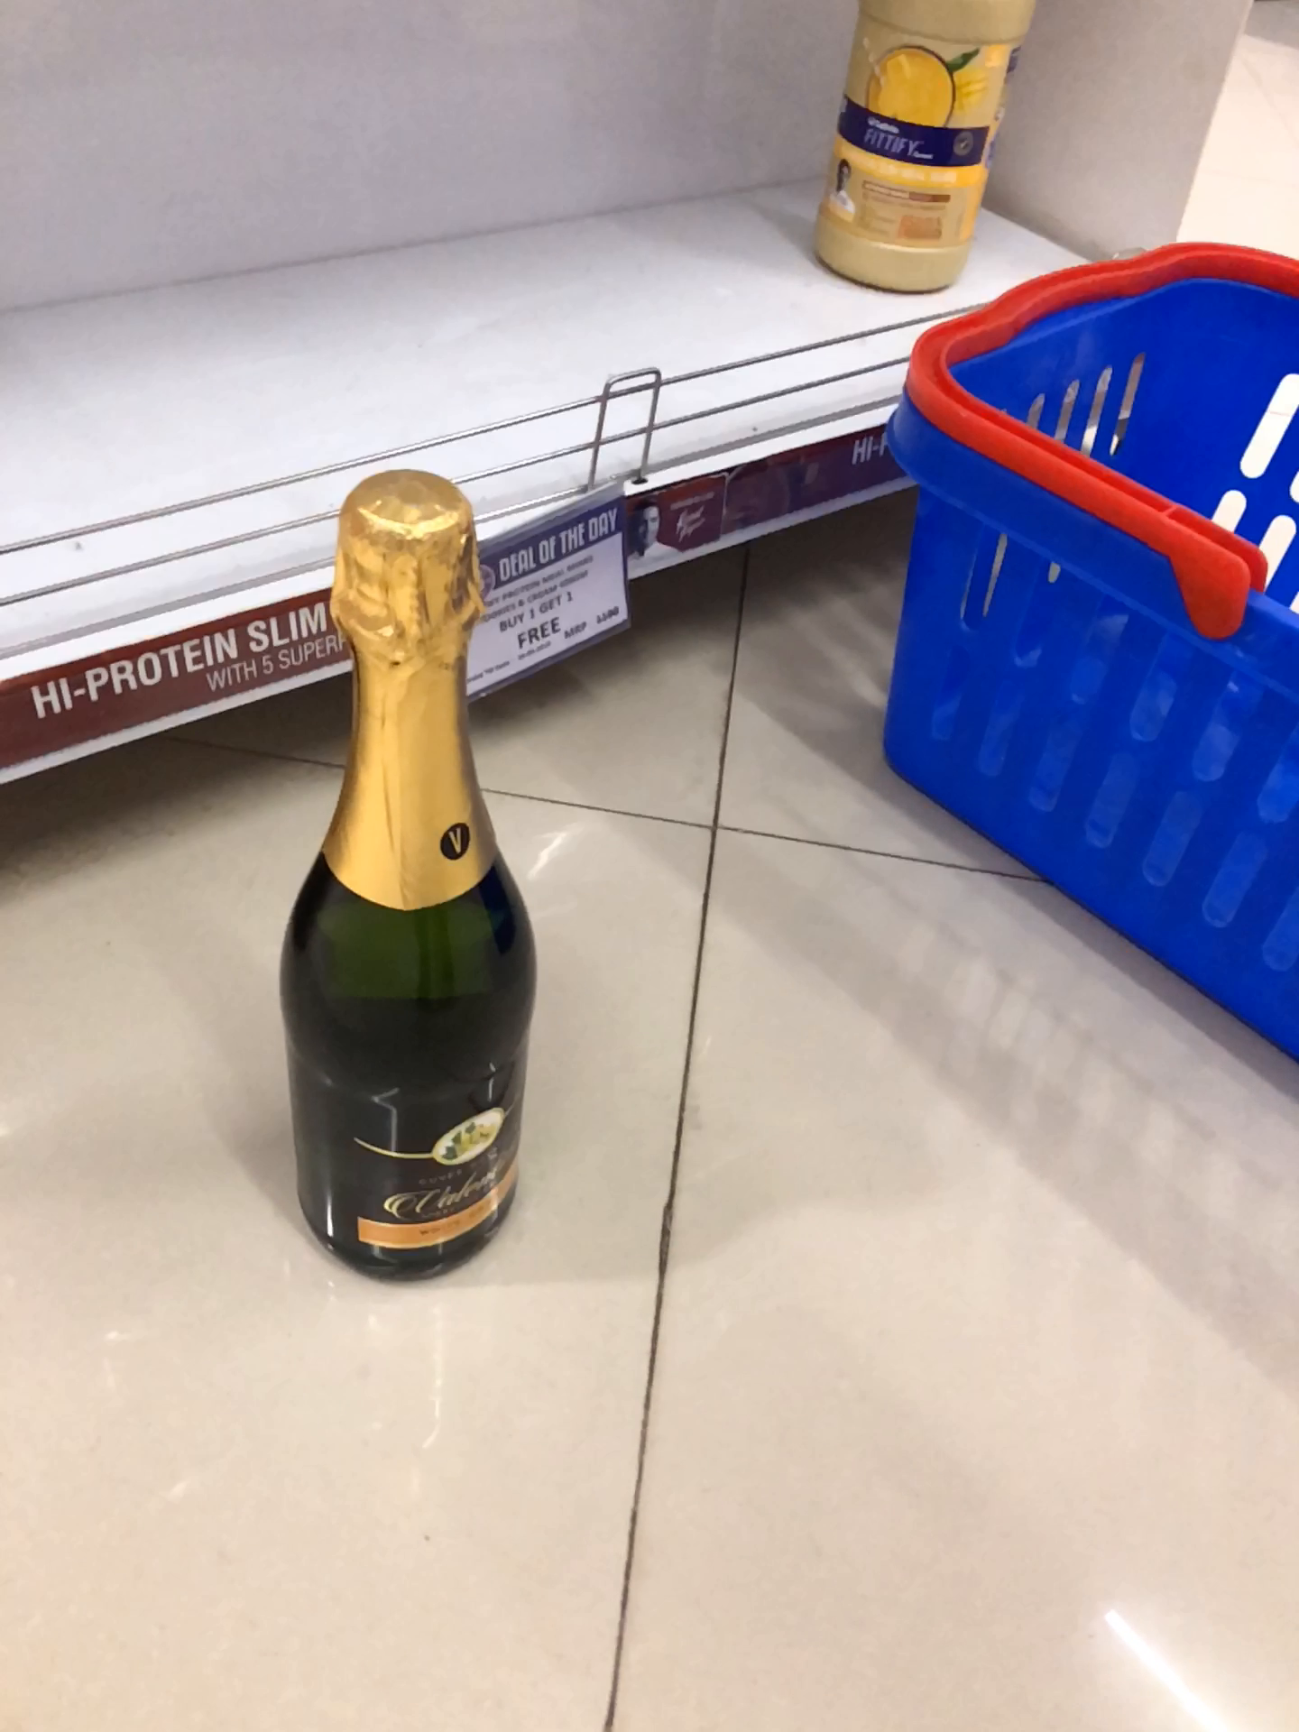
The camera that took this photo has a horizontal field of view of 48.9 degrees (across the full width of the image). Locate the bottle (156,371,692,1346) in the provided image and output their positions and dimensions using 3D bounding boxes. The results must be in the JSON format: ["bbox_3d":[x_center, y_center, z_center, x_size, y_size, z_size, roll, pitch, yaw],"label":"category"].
[{"bbox_3d":[-0.071,0.017,0.441,0.090,0.298,0.090,5,44,-5],"label":"bottle"}]
